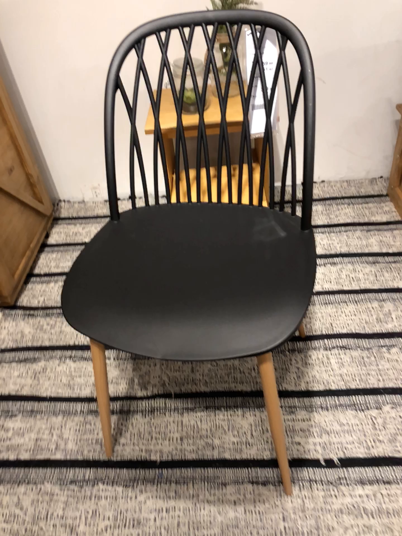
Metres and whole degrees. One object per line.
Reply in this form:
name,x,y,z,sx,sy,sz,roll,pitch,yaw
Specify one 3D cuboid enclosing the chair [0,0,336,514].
chair,-0.018,-0.009,0.867,0.470,0.774,0.544,4,41,14
